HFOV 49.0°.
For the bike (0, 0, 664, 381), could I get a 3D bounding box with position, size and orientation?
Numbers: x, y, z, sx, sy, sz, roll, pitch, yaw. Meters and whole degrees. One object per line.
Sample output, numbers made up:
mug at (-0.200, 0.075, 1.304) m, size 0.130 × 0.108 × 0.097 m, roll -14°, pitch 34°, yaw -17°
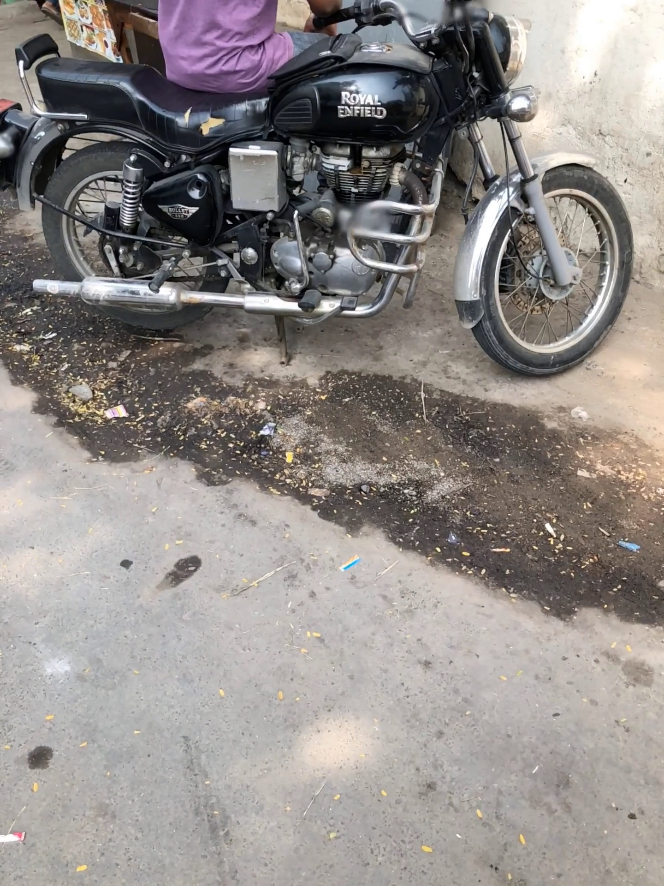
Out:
bike at (-0.007, -0.923, 2.320) m, size 1.918 × 1.172 × 0.844 m, roll 2°, pitch 38°, yaw 6°
